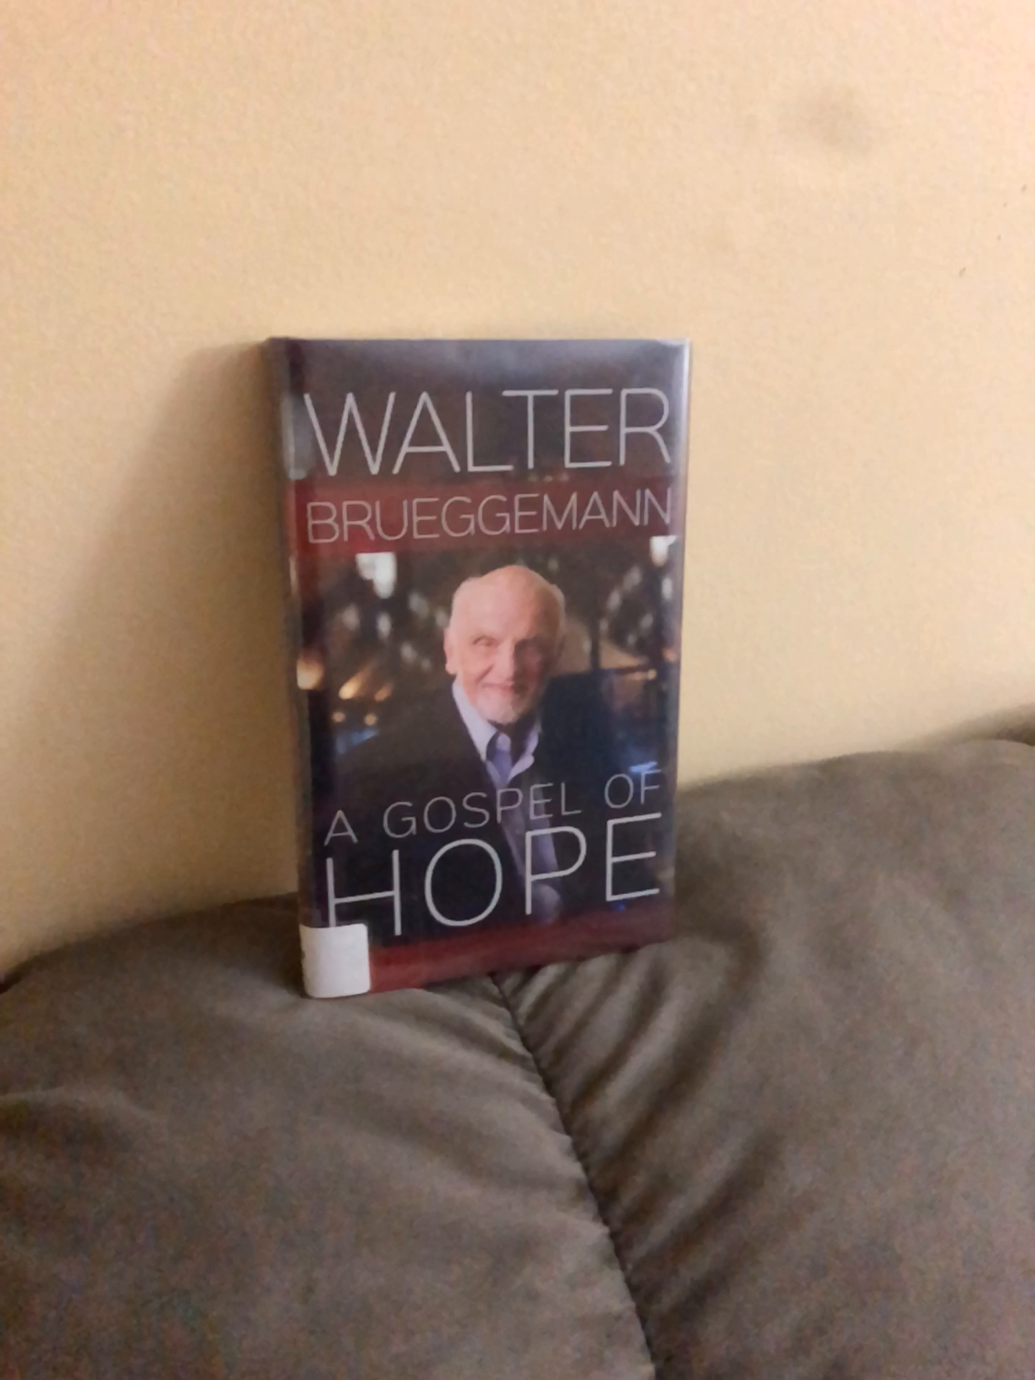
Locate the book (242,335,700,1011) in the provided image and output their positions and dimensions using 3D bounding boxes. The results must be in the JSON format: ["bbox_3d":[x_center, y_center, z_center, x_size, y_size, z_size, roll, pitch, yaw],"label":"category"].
[{"bbox_3d":[-0.010,-0.006,0.383,0.141,0.210,0.027,-6,14,-15],"label":"book"}]
